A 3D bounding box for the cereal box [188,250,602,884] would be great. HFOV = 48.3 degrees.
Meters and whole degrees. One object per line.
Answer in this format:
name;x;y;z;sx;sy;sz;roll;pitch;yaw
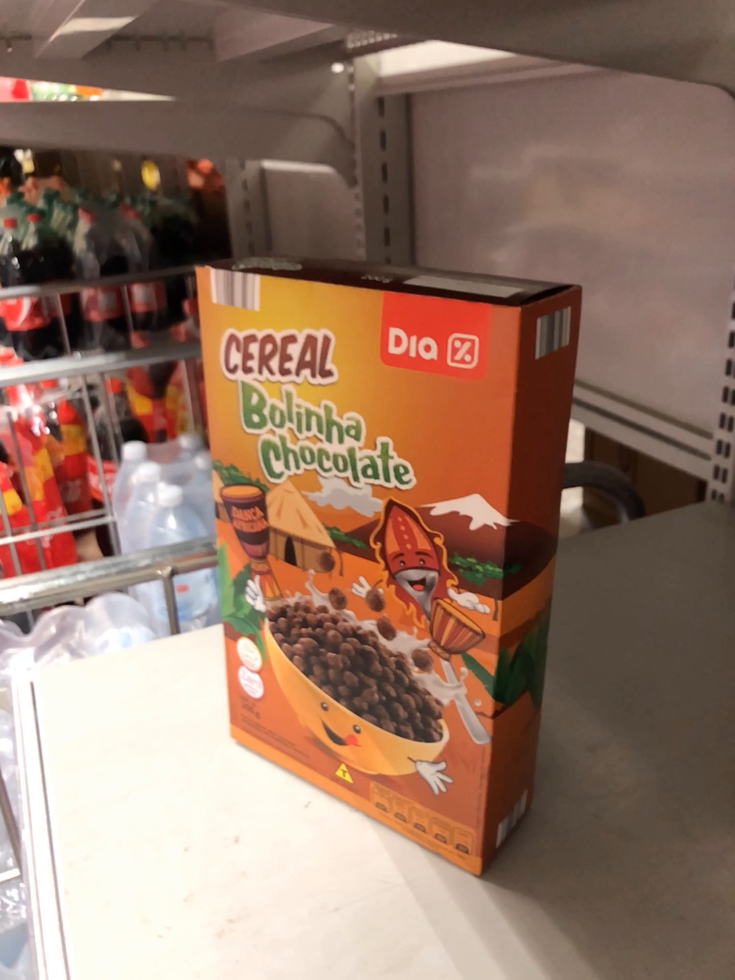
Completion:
cereal box;0.001;0.029;0.393;0.170;0.258;0.060;17;26;32
